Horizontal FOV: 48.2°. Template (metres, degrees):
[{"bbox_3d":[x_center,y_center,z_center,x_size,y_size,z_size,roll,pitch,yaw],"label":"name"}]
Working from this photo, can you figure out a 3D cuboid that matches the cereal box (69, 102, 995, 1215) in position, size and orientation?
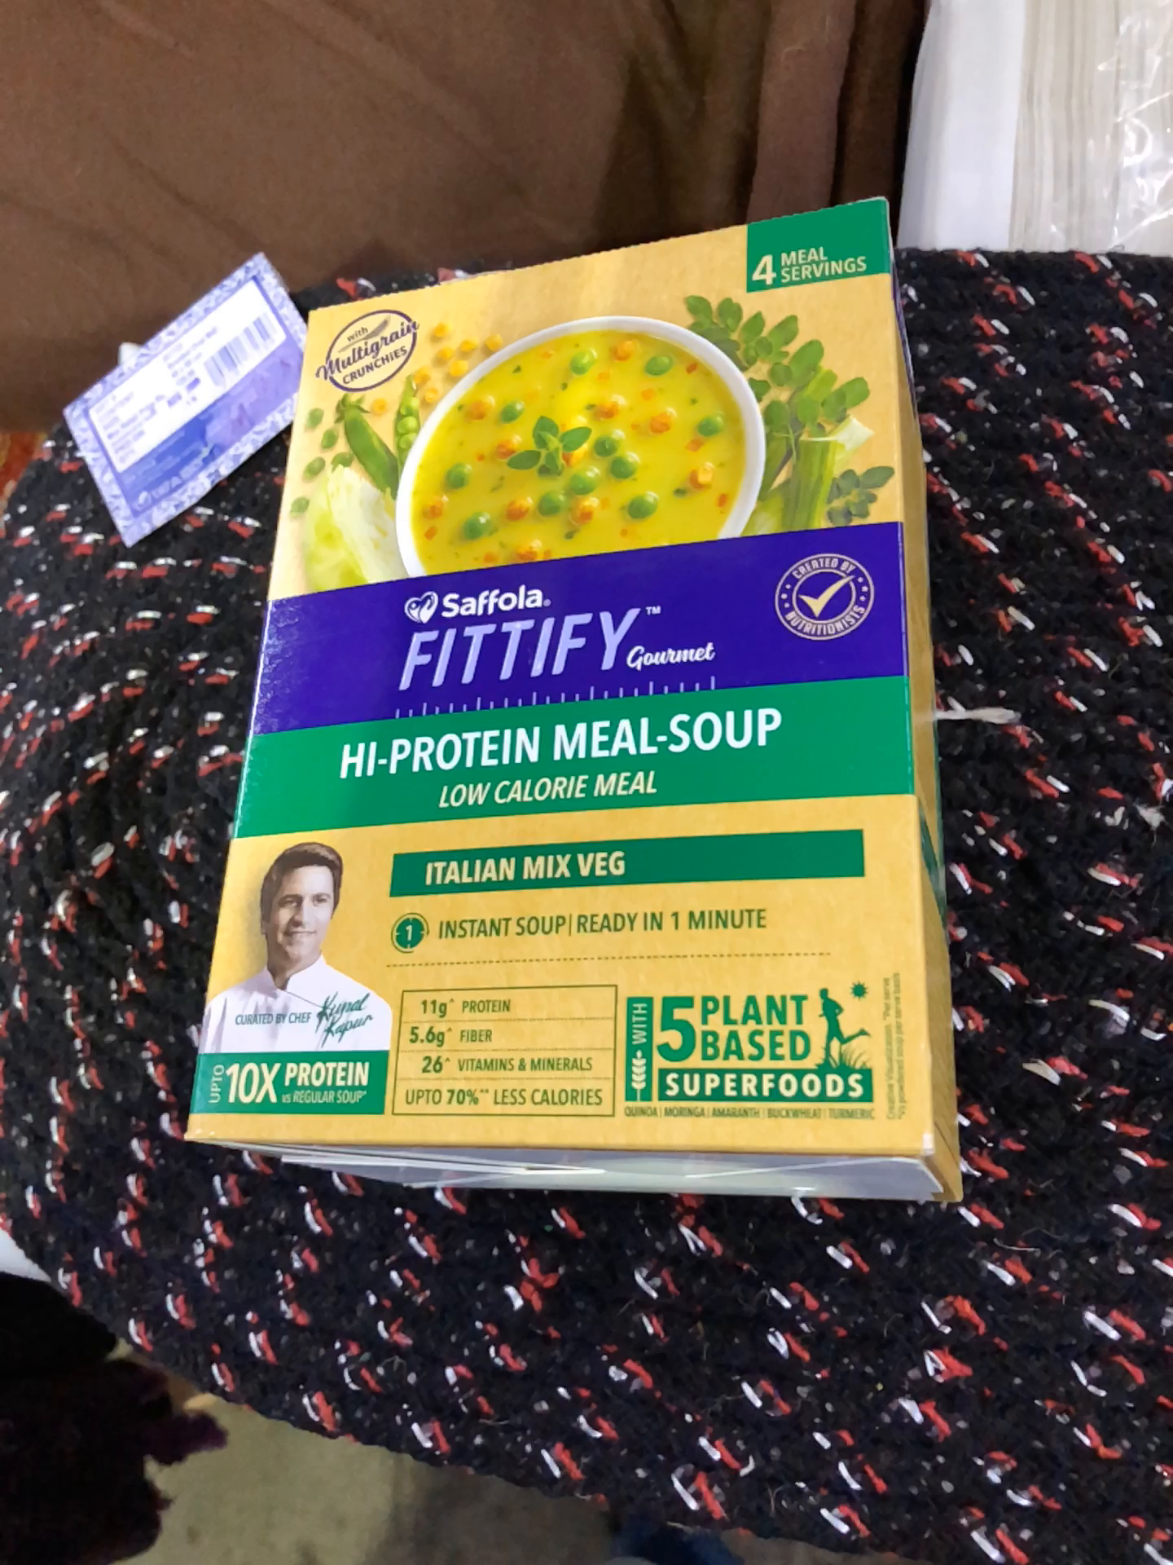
[{"bbox_3d":[0.002,-0.015,0.241,0.130,0.080,0.170,-3,68,18],"label":"cereal box"}]
